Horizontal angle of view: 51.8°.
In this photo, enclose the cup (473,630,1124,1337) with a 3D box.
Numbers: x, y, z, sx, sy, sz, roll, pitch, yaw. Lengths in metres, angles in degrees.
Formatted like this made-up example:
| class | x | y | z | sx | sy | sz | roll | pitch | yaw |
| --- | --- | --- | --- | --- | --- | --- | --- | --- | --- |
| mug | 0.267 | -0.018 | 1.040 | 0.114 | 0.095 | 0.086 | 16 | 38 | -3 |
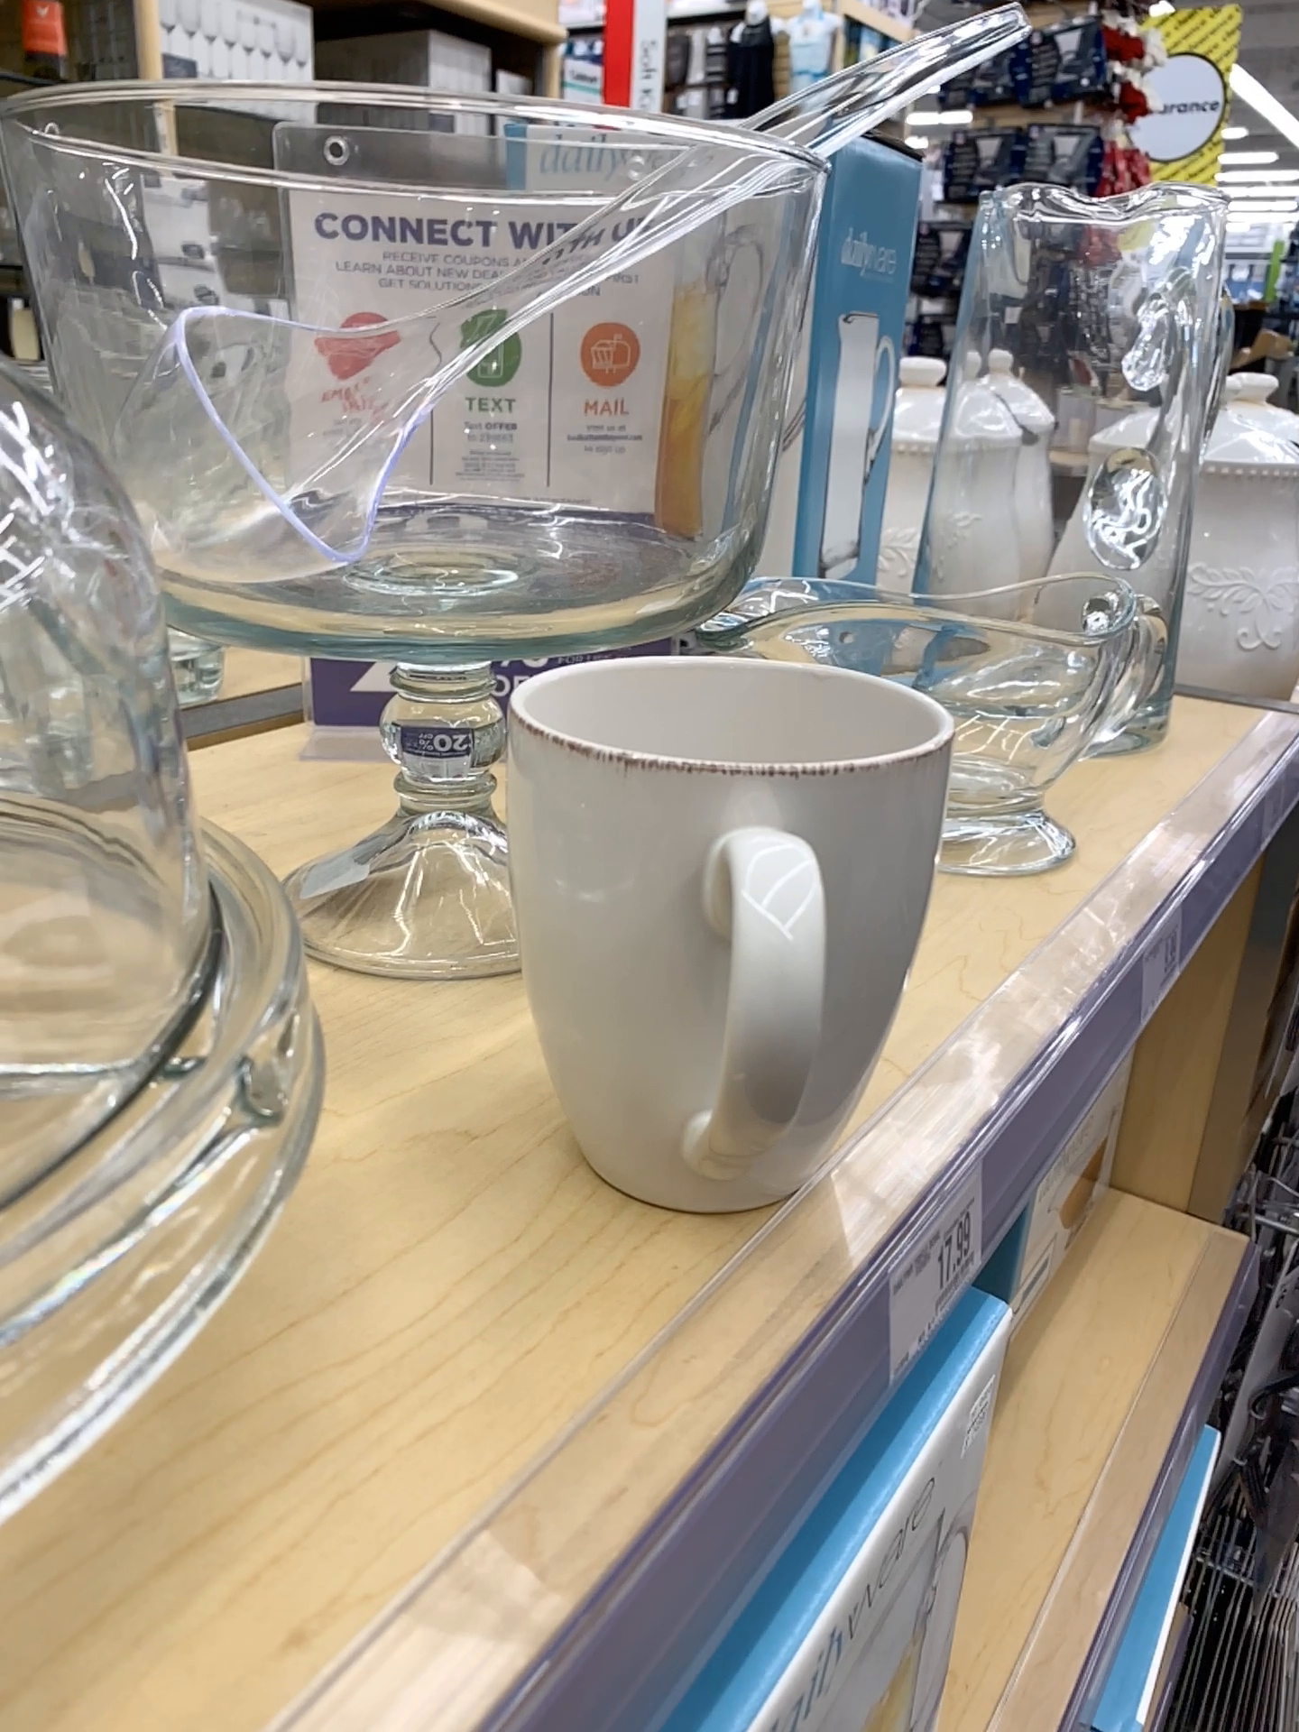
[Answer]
| class | x | y | z | sx | sy | sz | roll | pitch | yaw |
| --- | --- | --- | --- | --- | --- | --- | --- | --- | --- |
| cup | 0.016 | 0.014 | 0.279 | 0.096 | 0.094 | 0.131 | 4 | 21 | -7 |
